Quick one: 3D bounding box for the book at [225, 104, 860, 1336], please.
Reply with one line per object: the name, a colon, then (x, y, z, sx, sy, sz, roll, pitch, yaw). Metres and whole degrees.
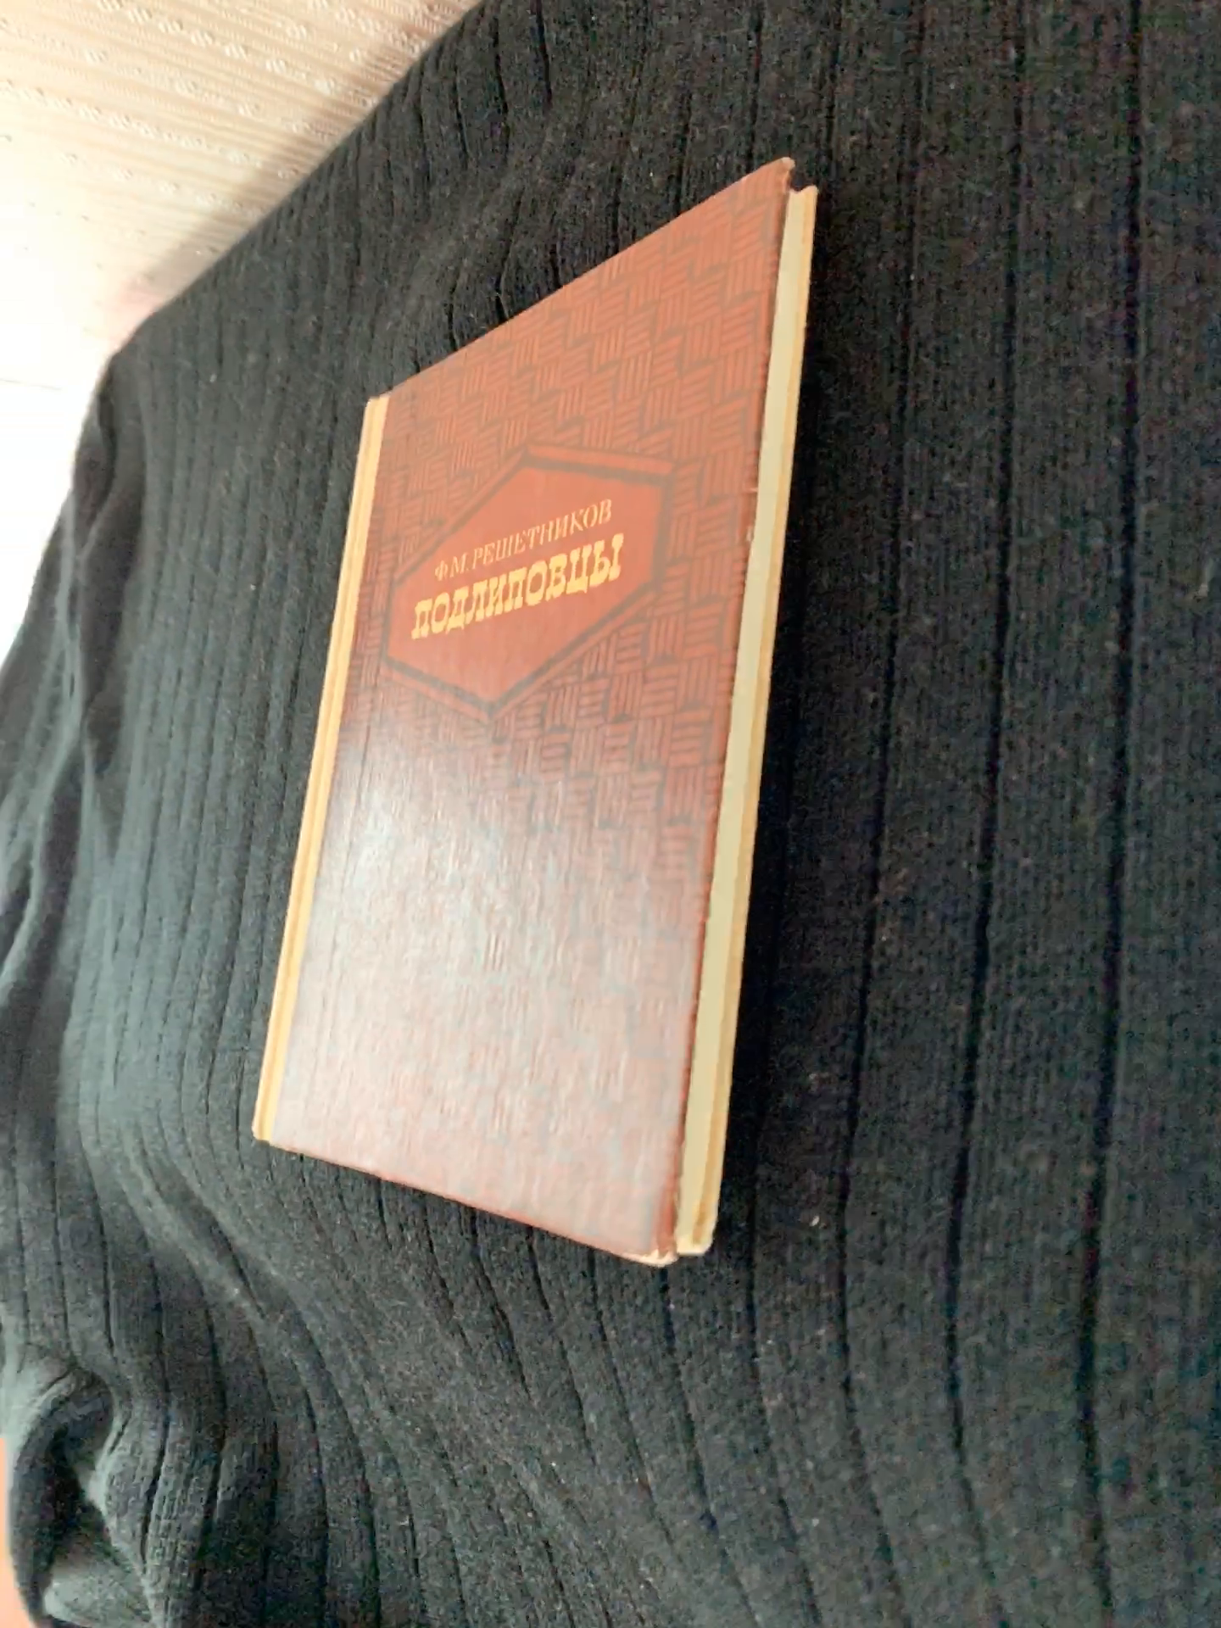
book: (-0.019, -0.015, 0.228, 0.130, 0.015, 0.177, -6, 72, 49)
